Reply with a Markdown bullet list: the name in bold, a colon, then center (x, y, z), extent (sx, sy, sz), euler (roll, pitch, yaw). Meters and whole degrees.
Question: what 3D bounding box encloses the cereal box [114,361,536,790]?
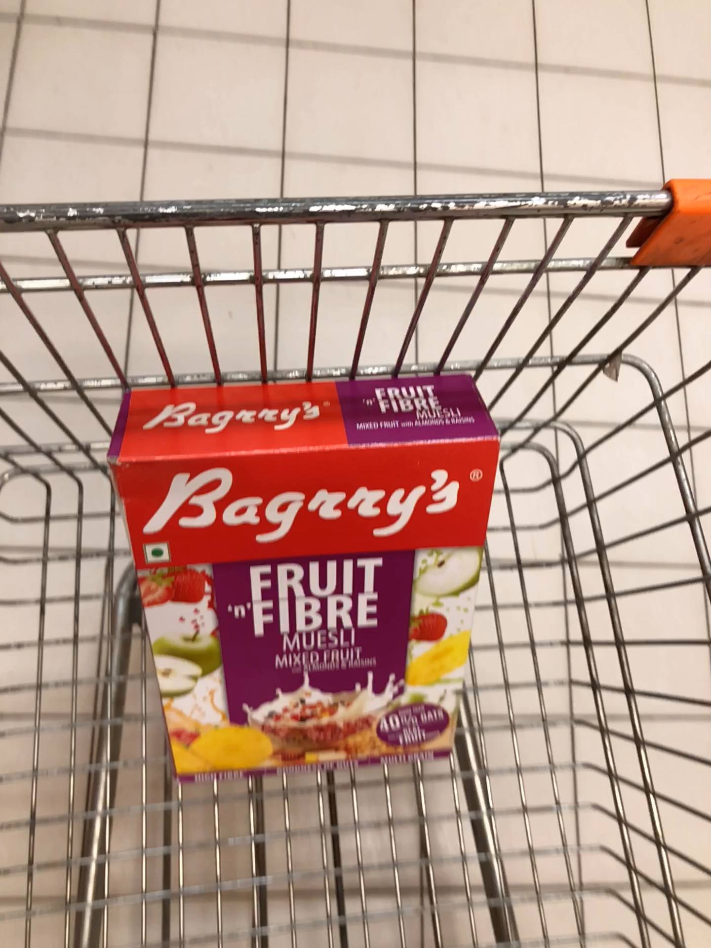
- **cereal box**: center (-0.018, 0.067, 0.453), extent (0.190, 0.249, 0.070), euler (-3, 35, -7)
